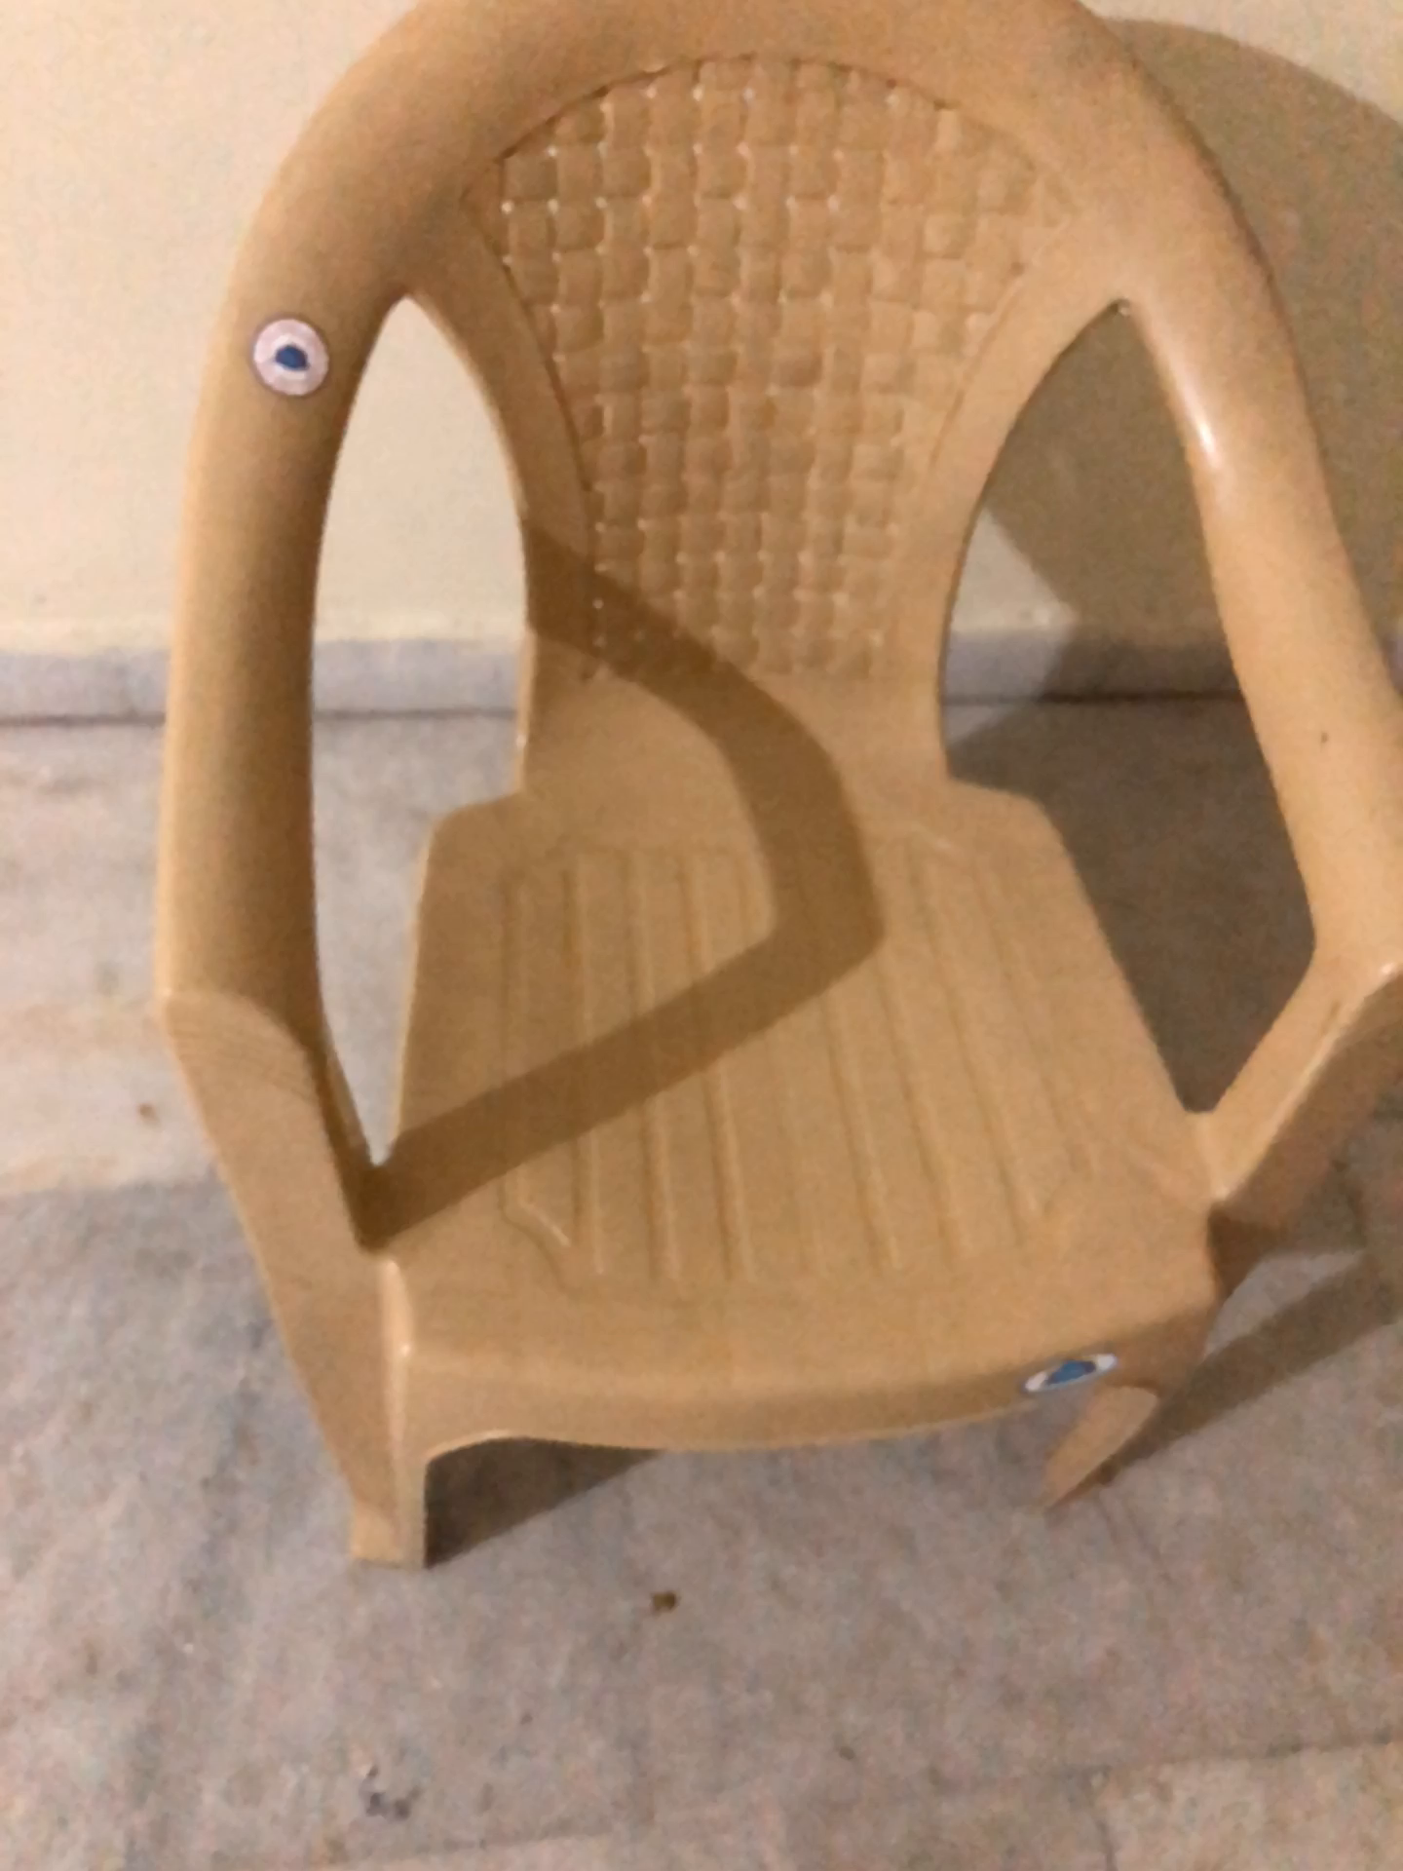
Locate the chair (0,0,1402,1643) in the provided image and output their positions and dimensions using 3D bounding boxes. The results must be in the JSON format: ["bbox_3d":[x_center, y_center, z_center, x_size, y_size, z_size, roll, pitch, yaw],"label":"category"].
[{"bbox_3d":[0.021,-0.030,0.857,0.590,0.746,0.603,-4,59,-8],"label":"chair"}]
